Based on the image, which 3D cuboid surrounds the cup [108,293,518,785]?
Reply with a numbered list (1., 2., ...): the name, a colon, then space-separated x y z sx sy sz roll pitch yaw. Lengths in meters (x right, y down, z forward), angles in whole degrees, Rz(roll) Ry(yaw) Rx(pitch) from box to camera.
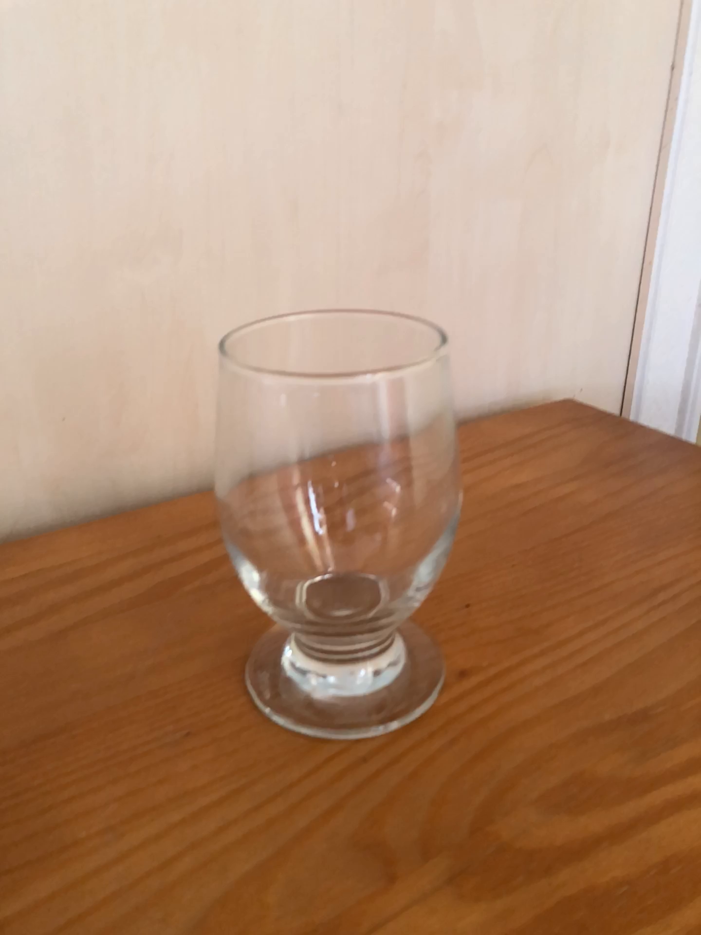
1. cup: -0.008 0.012 0.233 0.082 0.107 0.079 0 23 0
